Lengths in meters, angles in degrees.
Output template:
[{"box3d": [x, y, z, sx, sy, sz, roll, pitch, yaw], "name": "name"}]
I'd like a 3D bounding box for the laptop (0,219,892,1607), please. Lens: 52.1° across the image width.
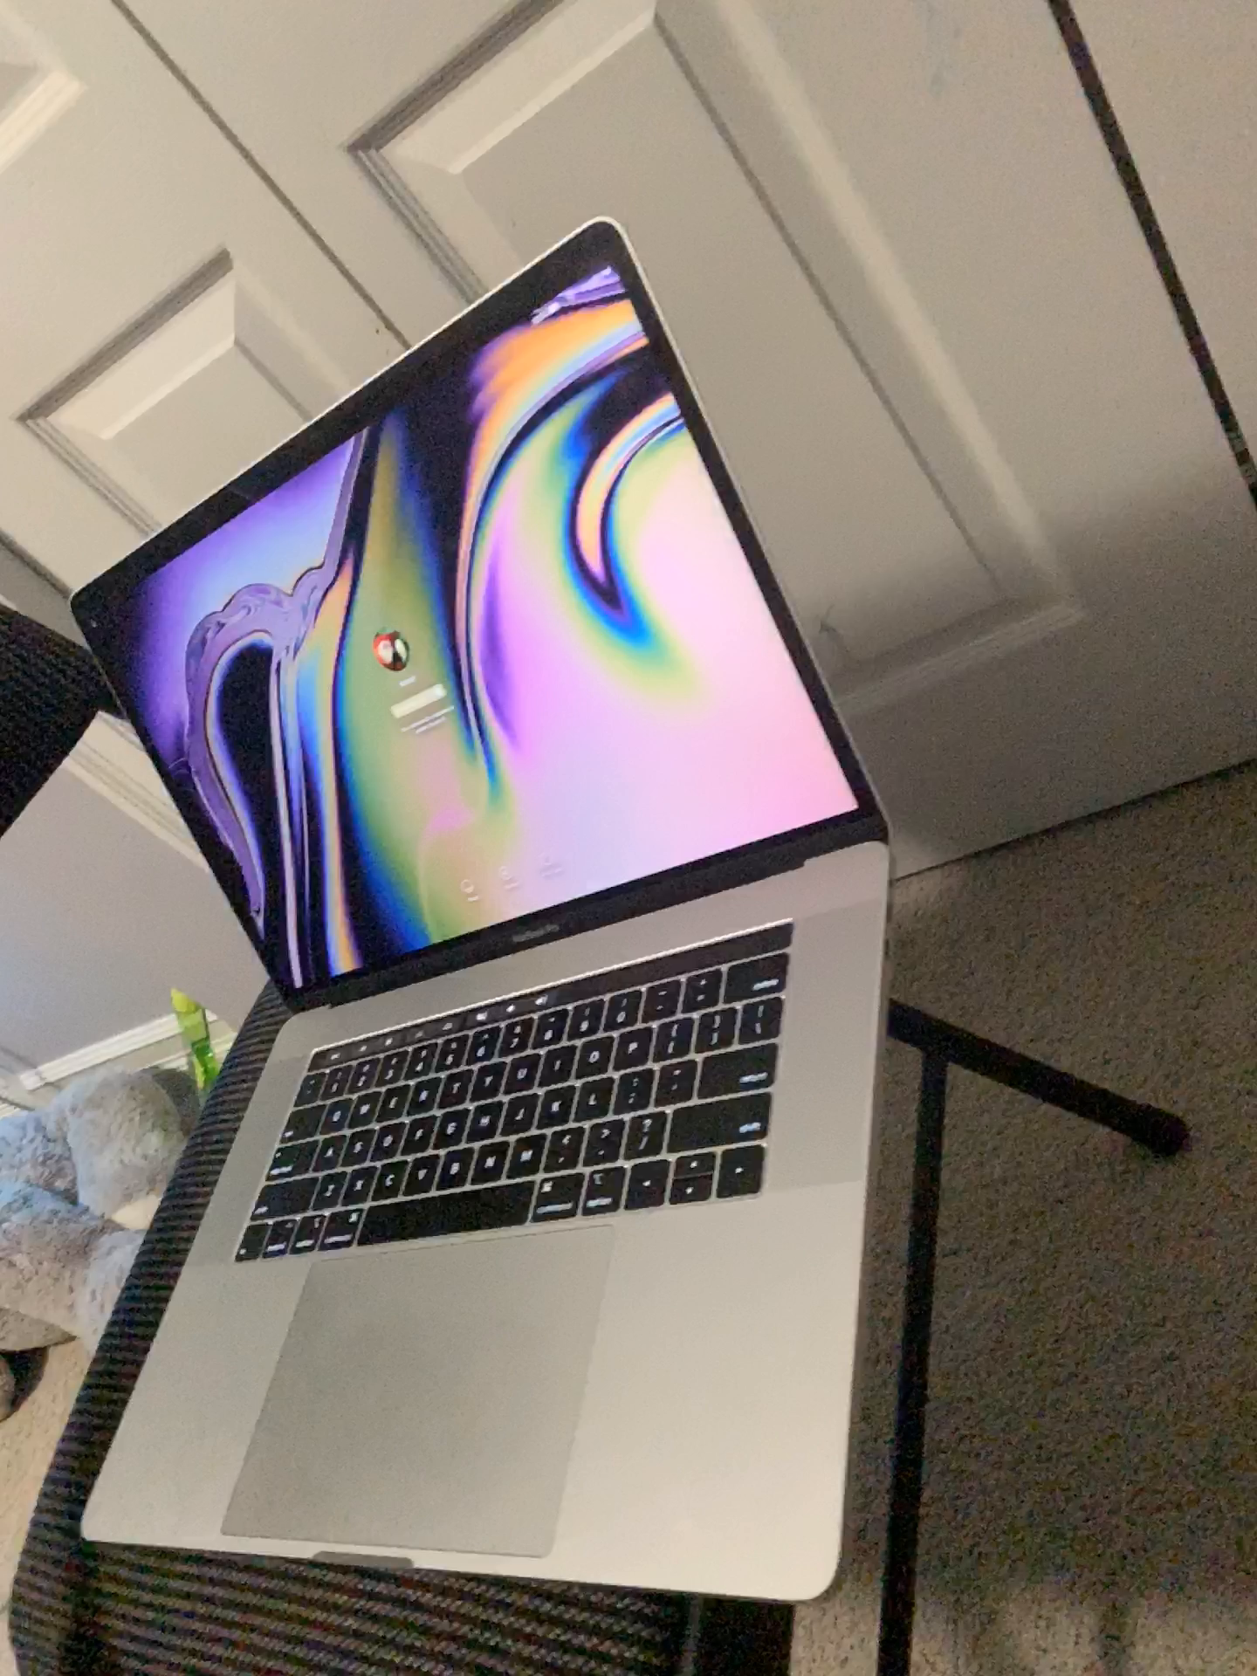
[{"box3d": [-0.114, 0.036, 0.460, 0.342, 0.194, 0.353, -19, 42, 35], "name": "laptop"}]
